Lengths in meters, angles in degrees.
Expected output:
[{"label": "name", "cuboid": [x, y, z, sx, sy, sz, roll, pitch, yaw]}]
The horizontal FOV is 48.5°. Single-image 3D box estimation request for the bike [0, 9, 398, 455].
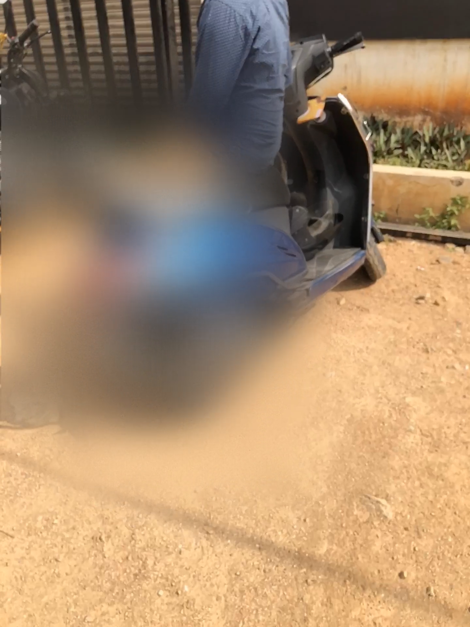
[{"label": "bike", "cuboid": [0.027, -0.503, 2.048, 0.622, 1.115, 1.557, 16, 35, 30]}]
